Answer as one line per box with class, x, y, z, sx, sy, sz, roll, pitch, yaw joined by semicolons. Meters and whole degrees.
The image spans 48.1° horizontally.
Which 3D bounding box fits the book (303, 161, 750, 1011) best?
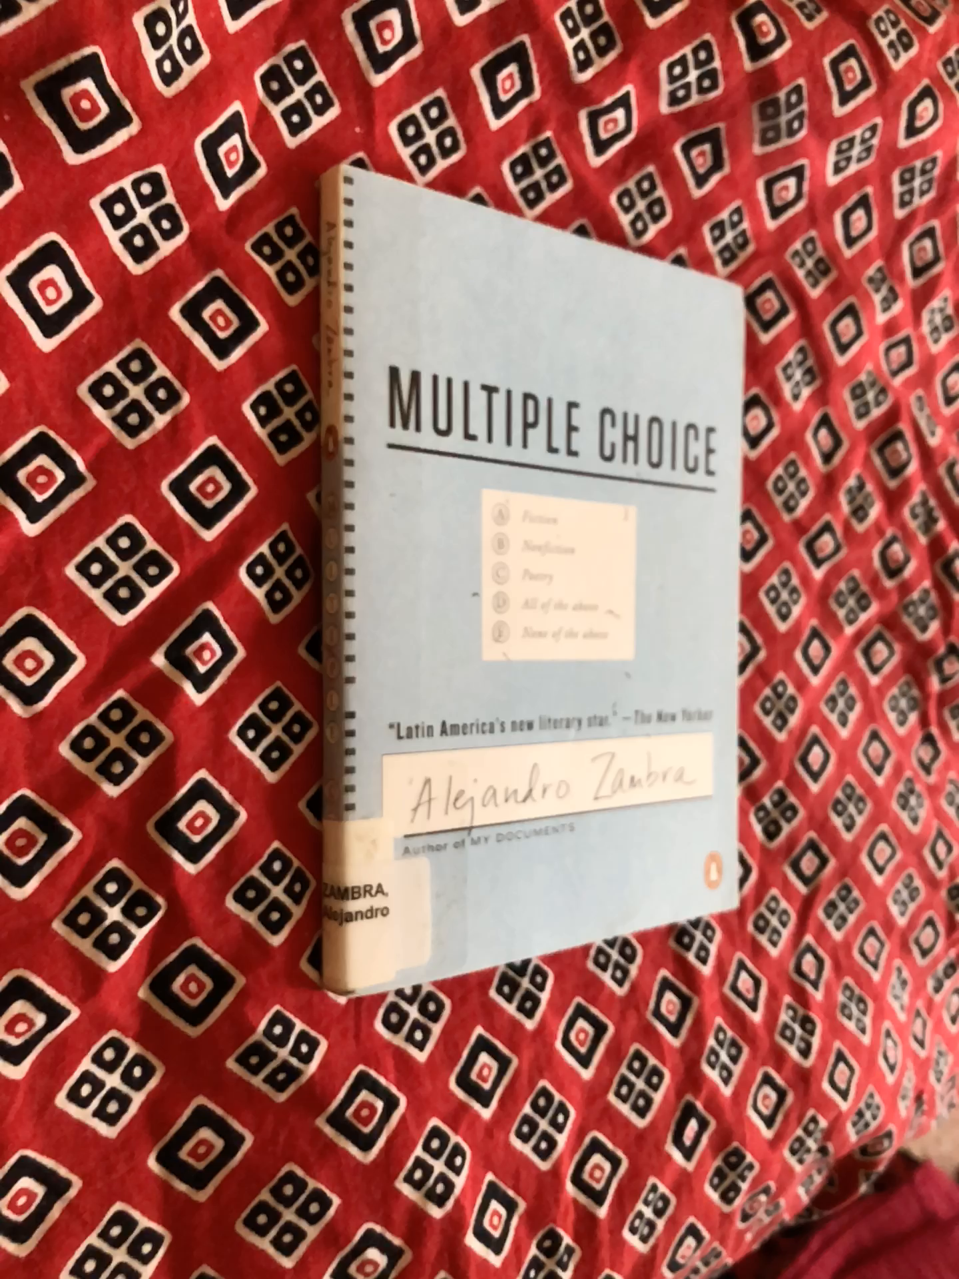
book;0.019;-0.011;0.273;0.134;0.020;0.176;-1;91;-39
